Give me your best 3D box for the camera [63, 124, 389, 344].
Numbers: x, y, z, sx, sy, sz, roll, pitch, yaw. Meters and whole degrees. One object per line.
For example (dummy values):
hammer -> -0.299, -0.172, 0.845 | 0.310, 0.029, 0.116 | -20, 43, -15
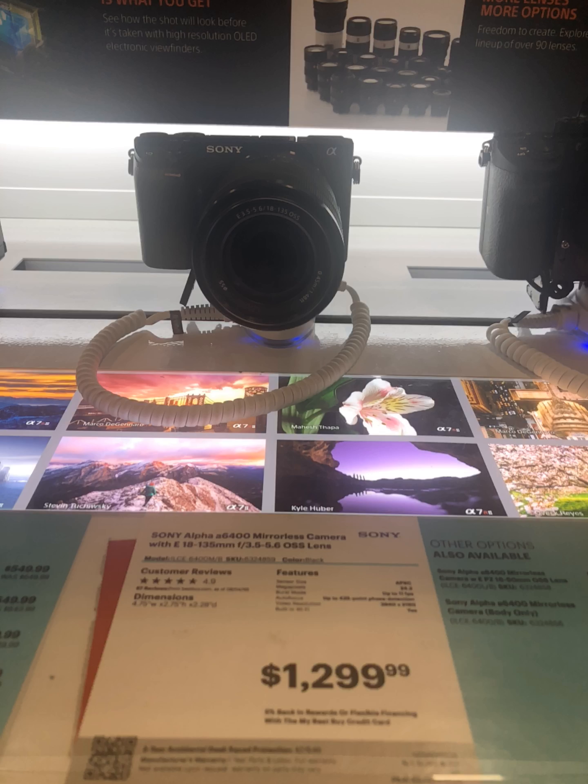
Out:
camera -> -0.028, -0.087, 0.334 | 0.130, 0.070, 0.131 | 1, 32, -1
